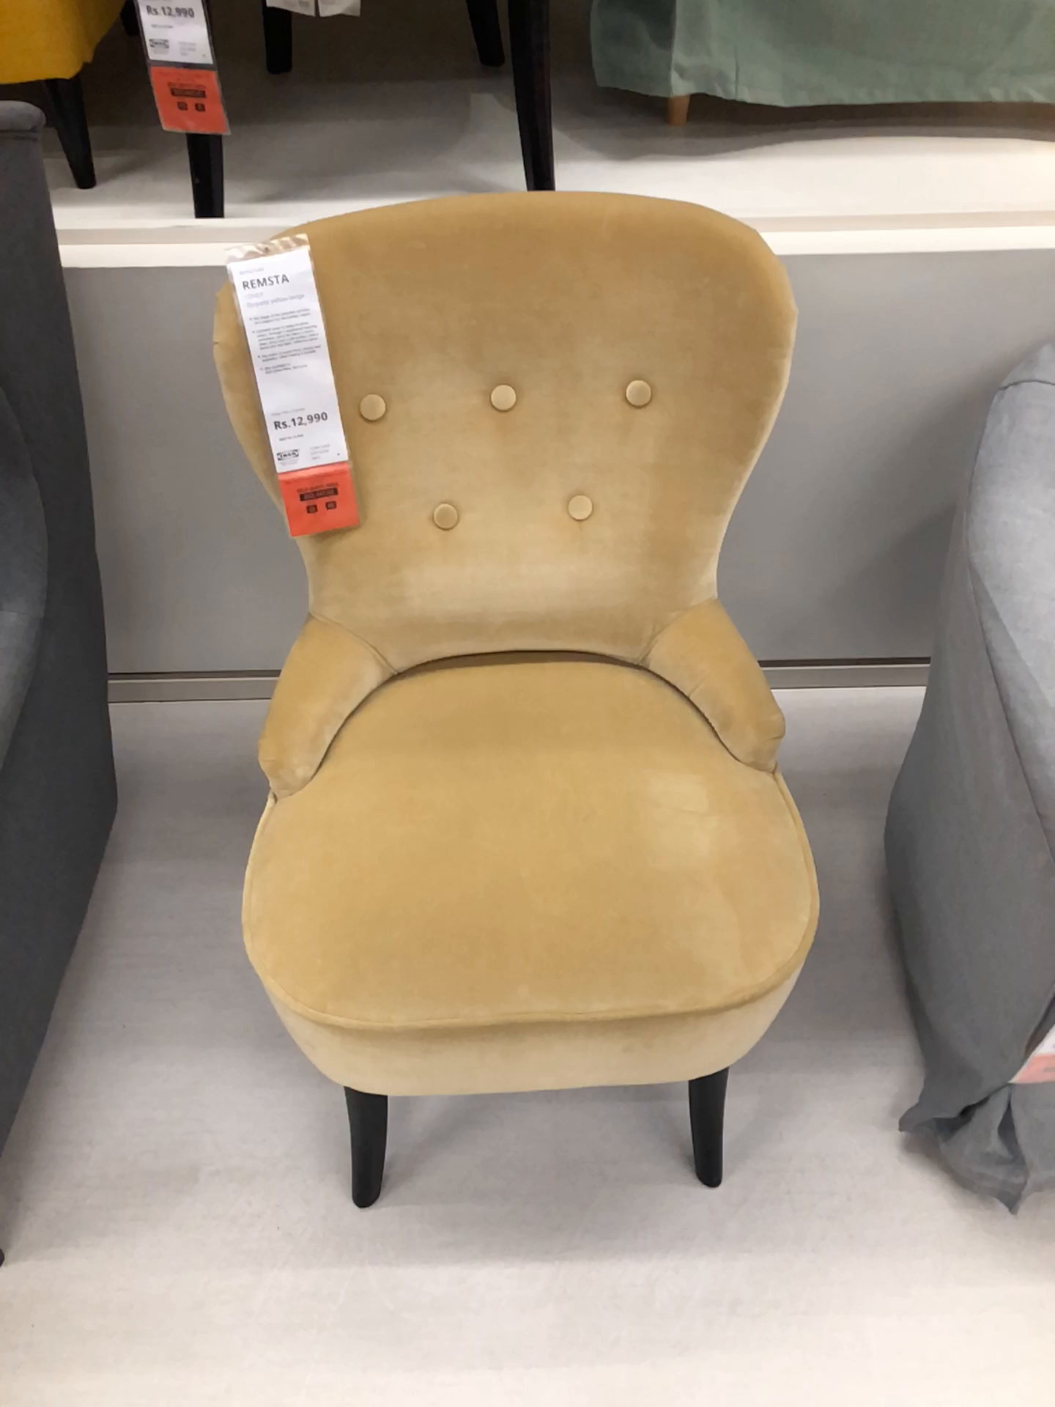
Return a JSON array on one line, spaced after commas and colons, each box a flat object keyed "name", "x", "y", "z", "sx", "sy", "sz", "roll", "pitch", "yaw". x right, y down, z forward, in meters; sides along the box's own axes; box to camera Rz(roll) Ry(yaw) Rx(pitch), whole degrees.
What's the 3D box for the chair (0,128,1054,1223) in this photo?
[{"name": "chair", "x": -0.002, "y": 0.021, "z": 1.145, "sx": 0.580, "sy": 0.865, "sz": 0.644, "roll": -2, "pitch": 48, "yaw": -1}]
